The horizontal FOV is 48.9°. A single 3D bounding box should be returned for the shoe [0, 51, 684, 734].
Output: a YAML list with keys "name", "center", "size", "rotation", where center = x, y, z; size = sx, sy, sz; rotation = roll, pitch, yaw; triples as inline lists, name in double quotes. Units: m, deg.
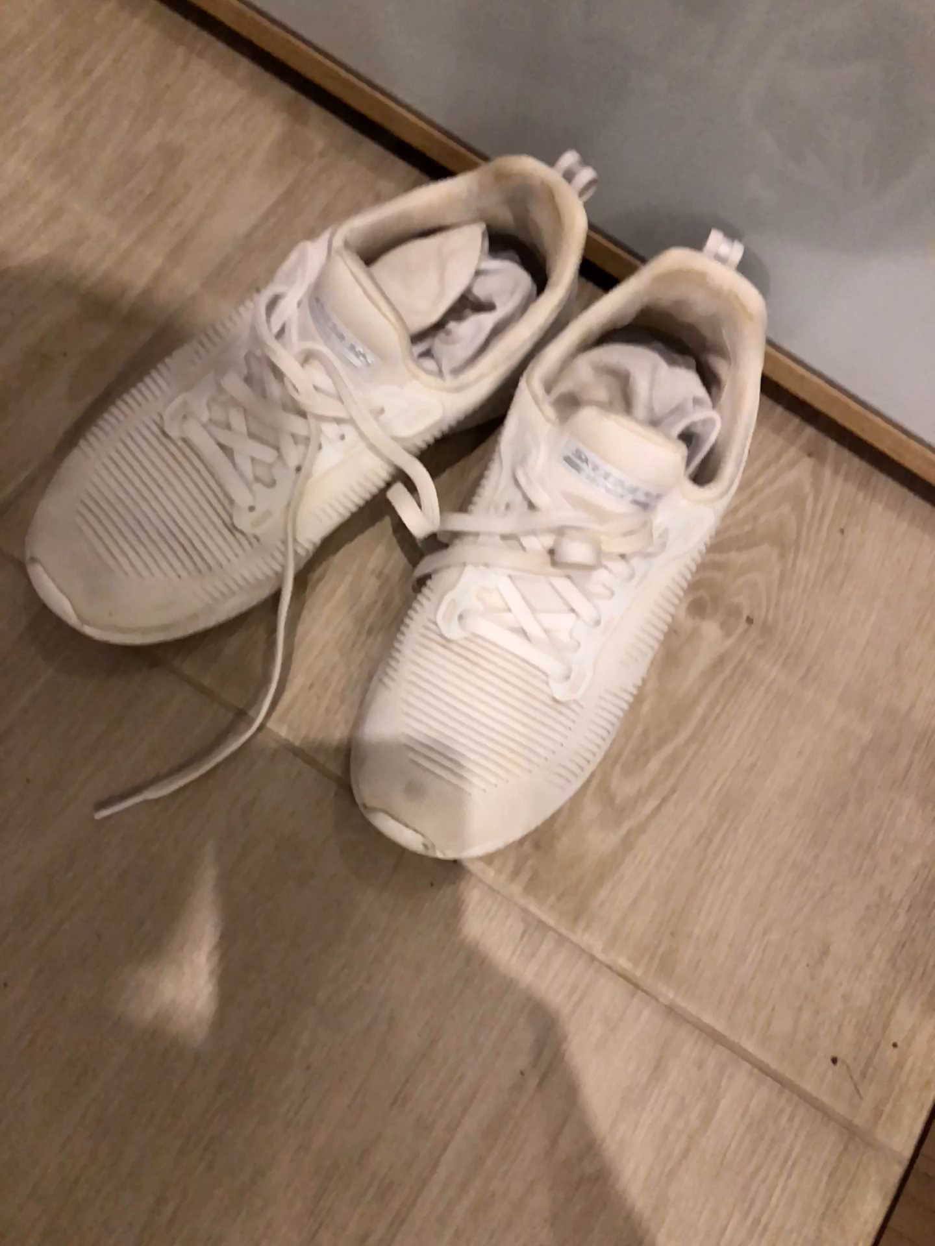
- name: "shoe"
  center: [-0.062, -0.091, 0.416]
  size: [0.271, 0.110, 0.110]
  rotation: [-38, 82, -17]

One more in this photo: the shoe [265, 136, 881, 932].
- name: "shoe"
  center: [0.043, -0.033, 0.412]
  size: [0.110, 0.110, 0.281]
  rotation: [28, 72, 1]
